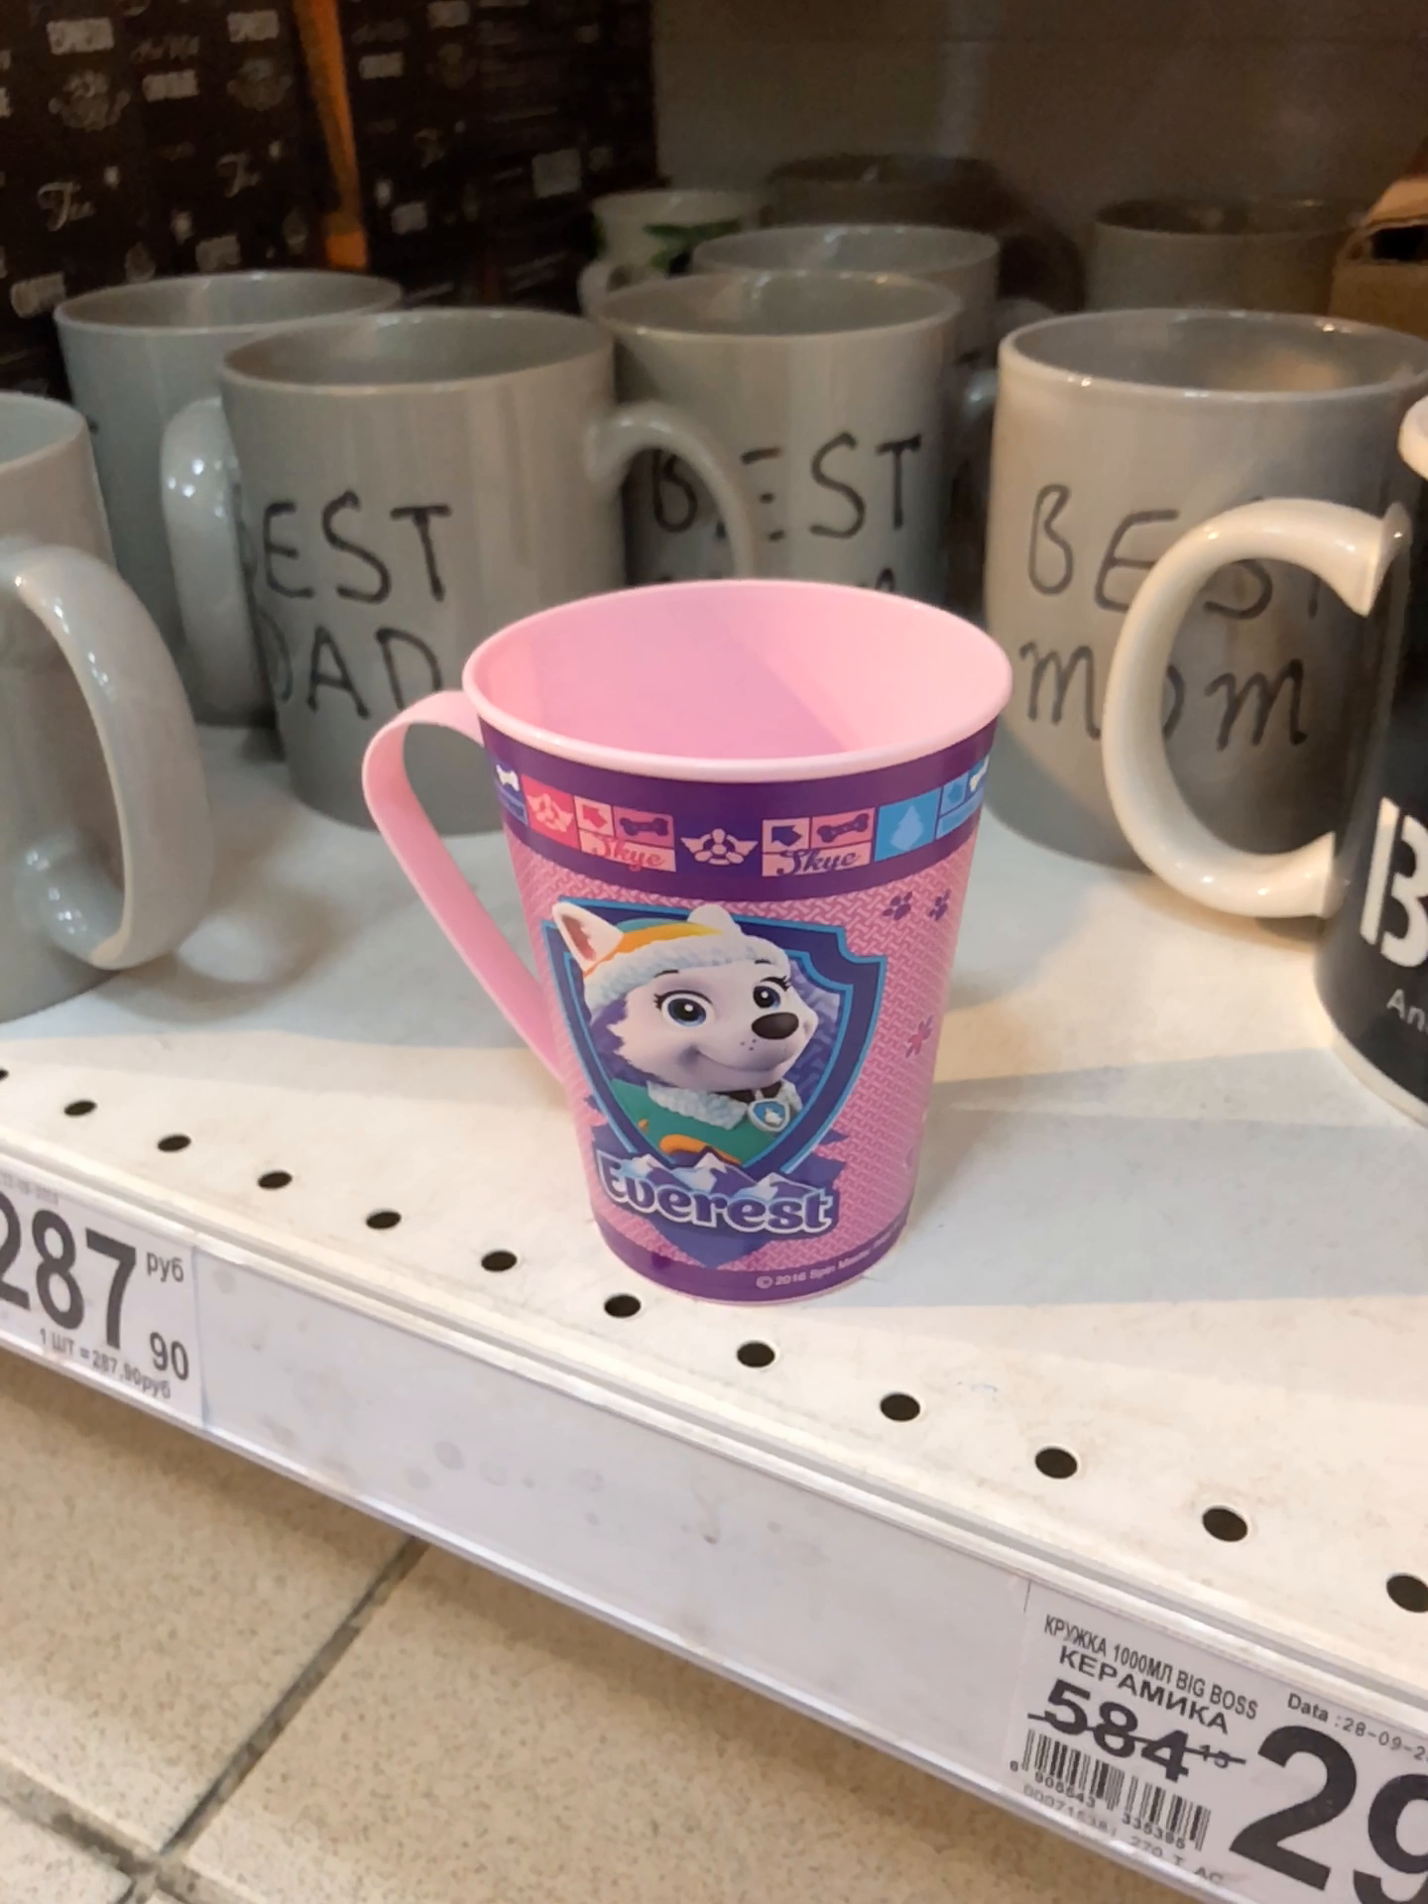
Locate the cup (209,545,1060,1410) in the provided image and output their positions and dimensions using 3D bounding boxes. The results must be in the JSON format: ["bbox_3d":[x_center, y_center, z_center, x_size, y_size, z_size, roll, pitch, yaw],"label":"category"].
[{"bbox_3d":[-0.007,-0.001,0.270,0.108,0.104,0.078,10,32,17],"label":"cup"}]
